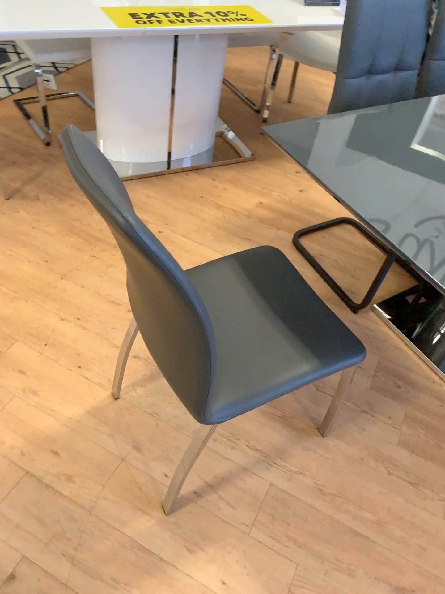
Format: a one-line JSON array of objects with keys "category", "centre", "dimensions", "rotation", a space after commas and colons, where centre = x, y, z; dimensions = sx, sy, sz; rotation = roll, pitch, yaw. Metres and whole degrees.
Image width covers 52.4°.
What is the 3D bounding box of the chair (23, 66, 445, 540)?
[{"category": "chair", "centre": [0.010, 0.044, 1.061], "dimensions": [0.642, 0.892, 0.483], "rotation": [-18, 53, -24]}]
